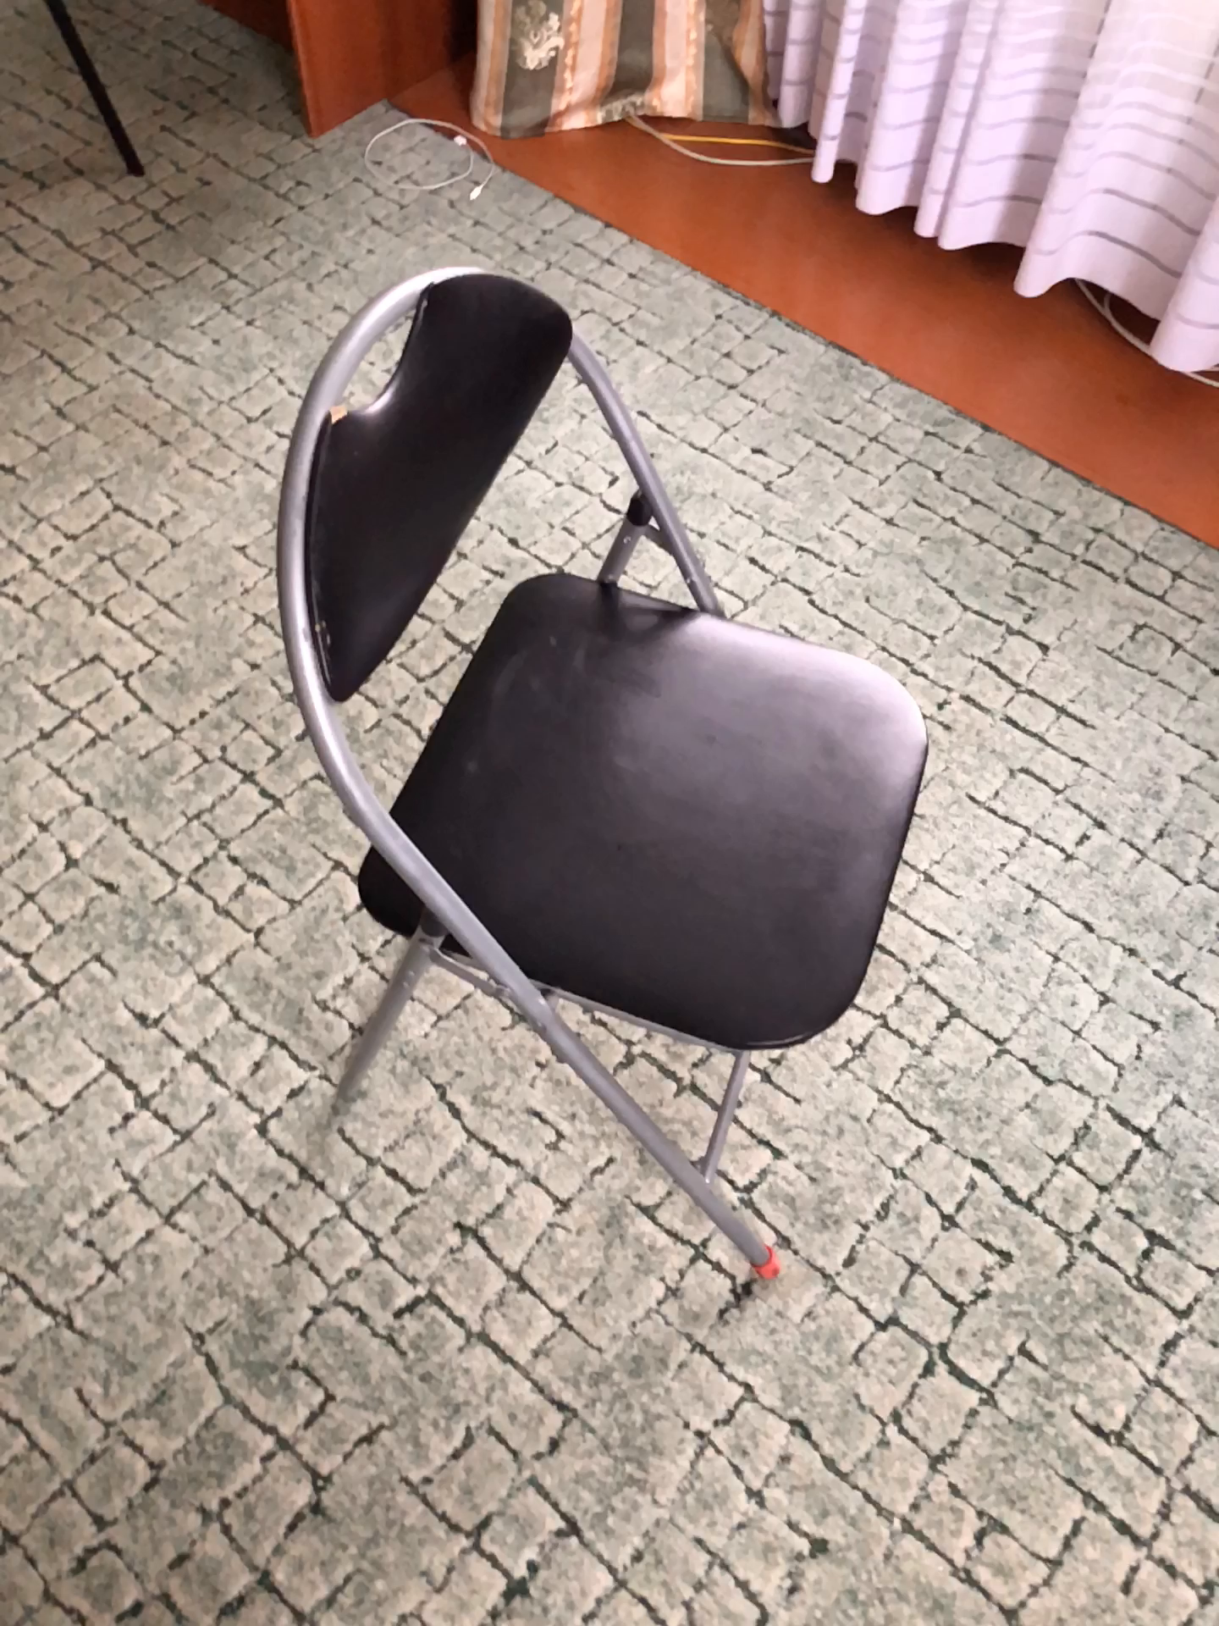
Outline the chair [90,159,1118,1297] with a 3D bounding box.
[{"bbox_3d":[0.018,-0.008,1.079,0.474,0.733,0.458,17,57,9],"label":"chair"}]
